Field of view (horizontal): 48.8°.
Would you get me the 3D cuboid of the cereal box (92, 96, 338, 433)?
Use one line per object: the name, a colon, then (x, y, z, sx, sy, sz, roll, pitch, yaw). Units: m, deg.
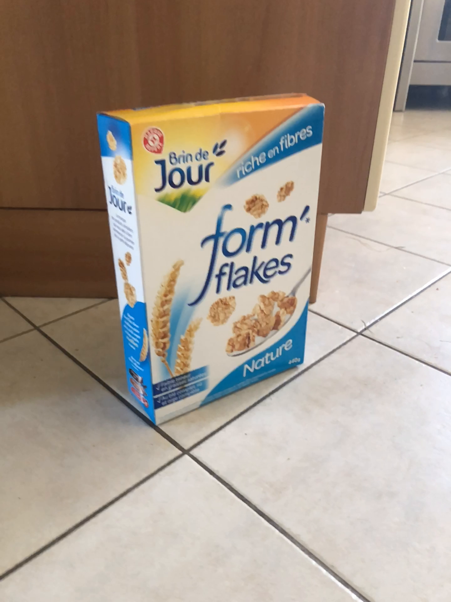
cereal box: (-0.003, -0.040, 0.480, 0.201, 0.278, 0.070, -17, 31, -30)
